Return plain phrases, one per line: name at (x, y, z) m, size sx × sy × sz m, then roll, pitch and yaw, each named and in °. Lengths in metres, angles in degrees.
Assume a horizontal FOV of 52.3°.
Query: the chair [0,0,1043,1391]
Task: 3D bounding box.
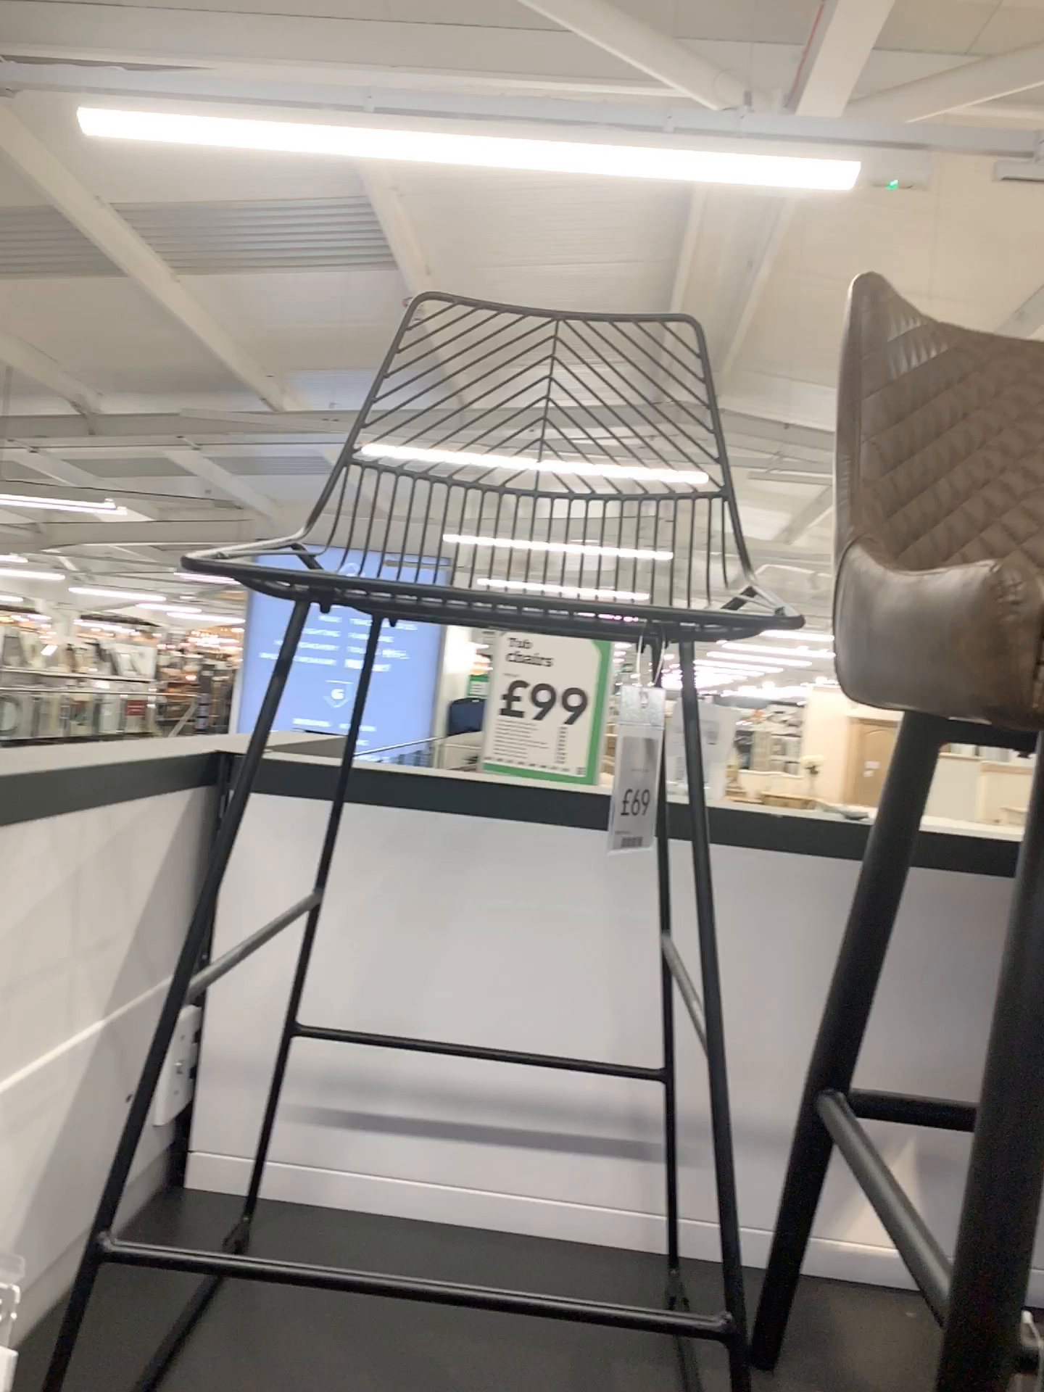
chair at (0.002, 0.060, 0.813) m, size 0.504 × 0.964 × 0.529 m, roll 6°, pitch -2°, yaw 3°
